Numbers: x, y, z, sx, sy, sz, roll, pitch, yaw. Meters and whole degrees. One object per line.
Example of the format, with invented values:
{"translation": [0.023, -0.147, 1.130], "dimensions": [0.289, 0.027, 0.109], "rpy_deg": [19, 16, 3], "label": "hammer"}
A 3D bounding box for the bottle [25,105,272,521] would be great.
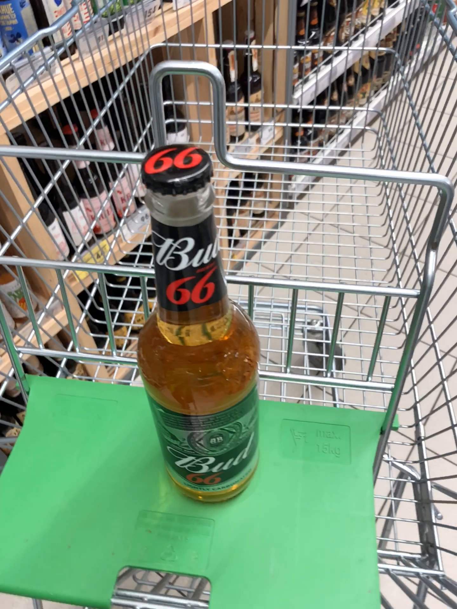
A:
{"translation": [-0.024, 0.029, 0.273], "dimensions": [0.080, 0.239, 0.070], "rpy_deg": [-10, 47, -5], "label": "bottle"}
